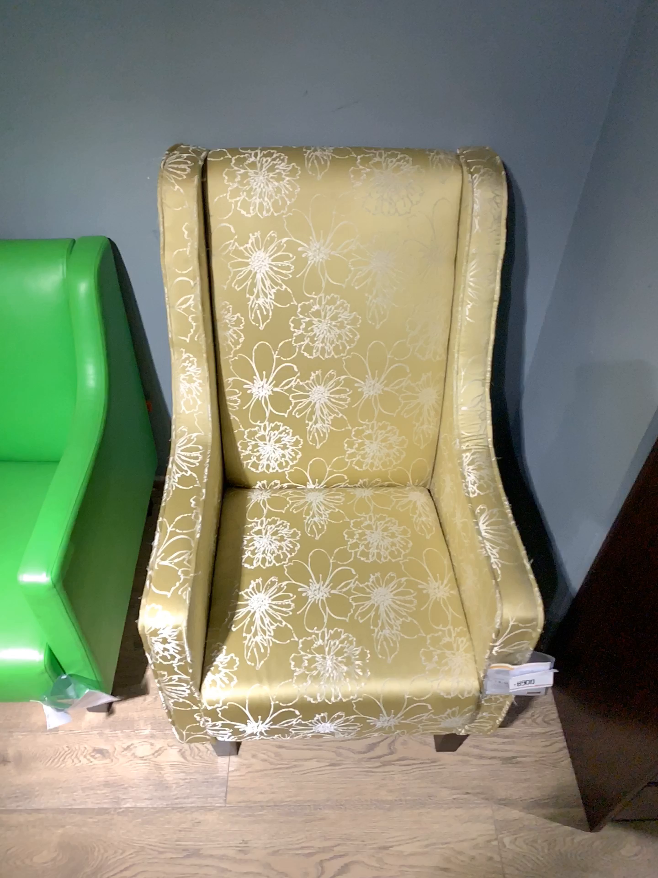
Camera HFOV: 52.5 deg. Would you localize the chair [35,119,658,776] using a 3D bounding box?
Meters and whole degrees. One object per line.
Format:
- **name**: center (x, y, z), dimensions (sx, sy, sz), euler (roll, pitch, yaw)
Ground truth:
- **chair**: center (0.039, 0.025, 1.439), dimensions (0.780, 1.026, 0.954), euler (0, 44, -3)
